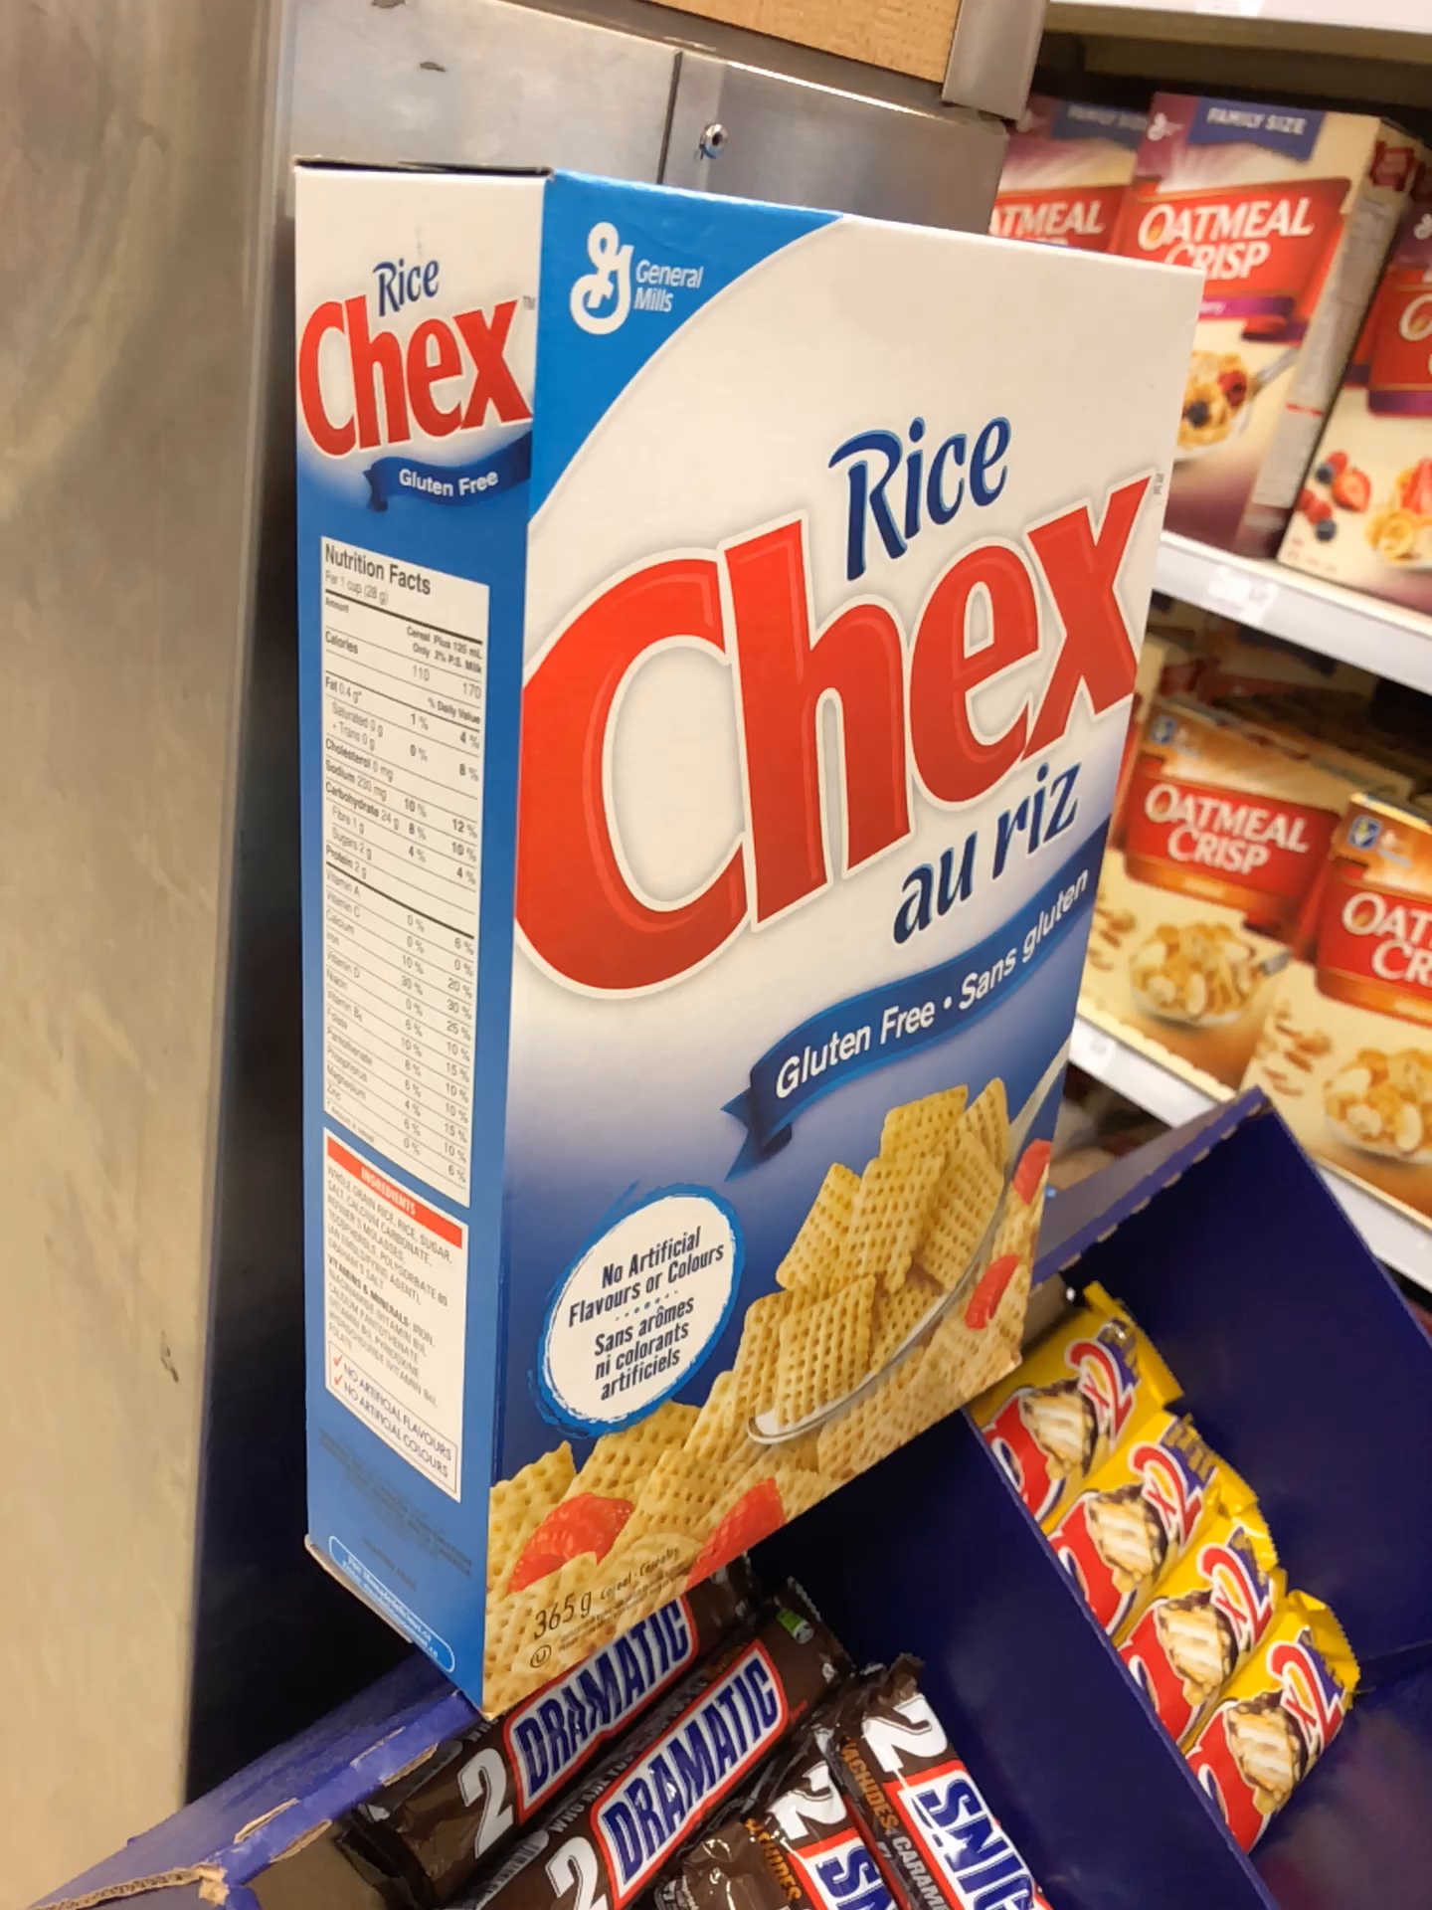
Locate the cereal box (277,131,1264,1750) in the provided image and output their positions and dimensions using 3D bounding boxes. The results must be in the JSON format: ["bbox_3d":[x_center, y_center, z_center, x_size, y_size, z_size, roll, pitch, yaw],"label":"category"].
[{"bbox_3d":[0.014,-0.009,0.359,0.070,0.289,0.211,23,27,39],"label":"cereal box"}]
